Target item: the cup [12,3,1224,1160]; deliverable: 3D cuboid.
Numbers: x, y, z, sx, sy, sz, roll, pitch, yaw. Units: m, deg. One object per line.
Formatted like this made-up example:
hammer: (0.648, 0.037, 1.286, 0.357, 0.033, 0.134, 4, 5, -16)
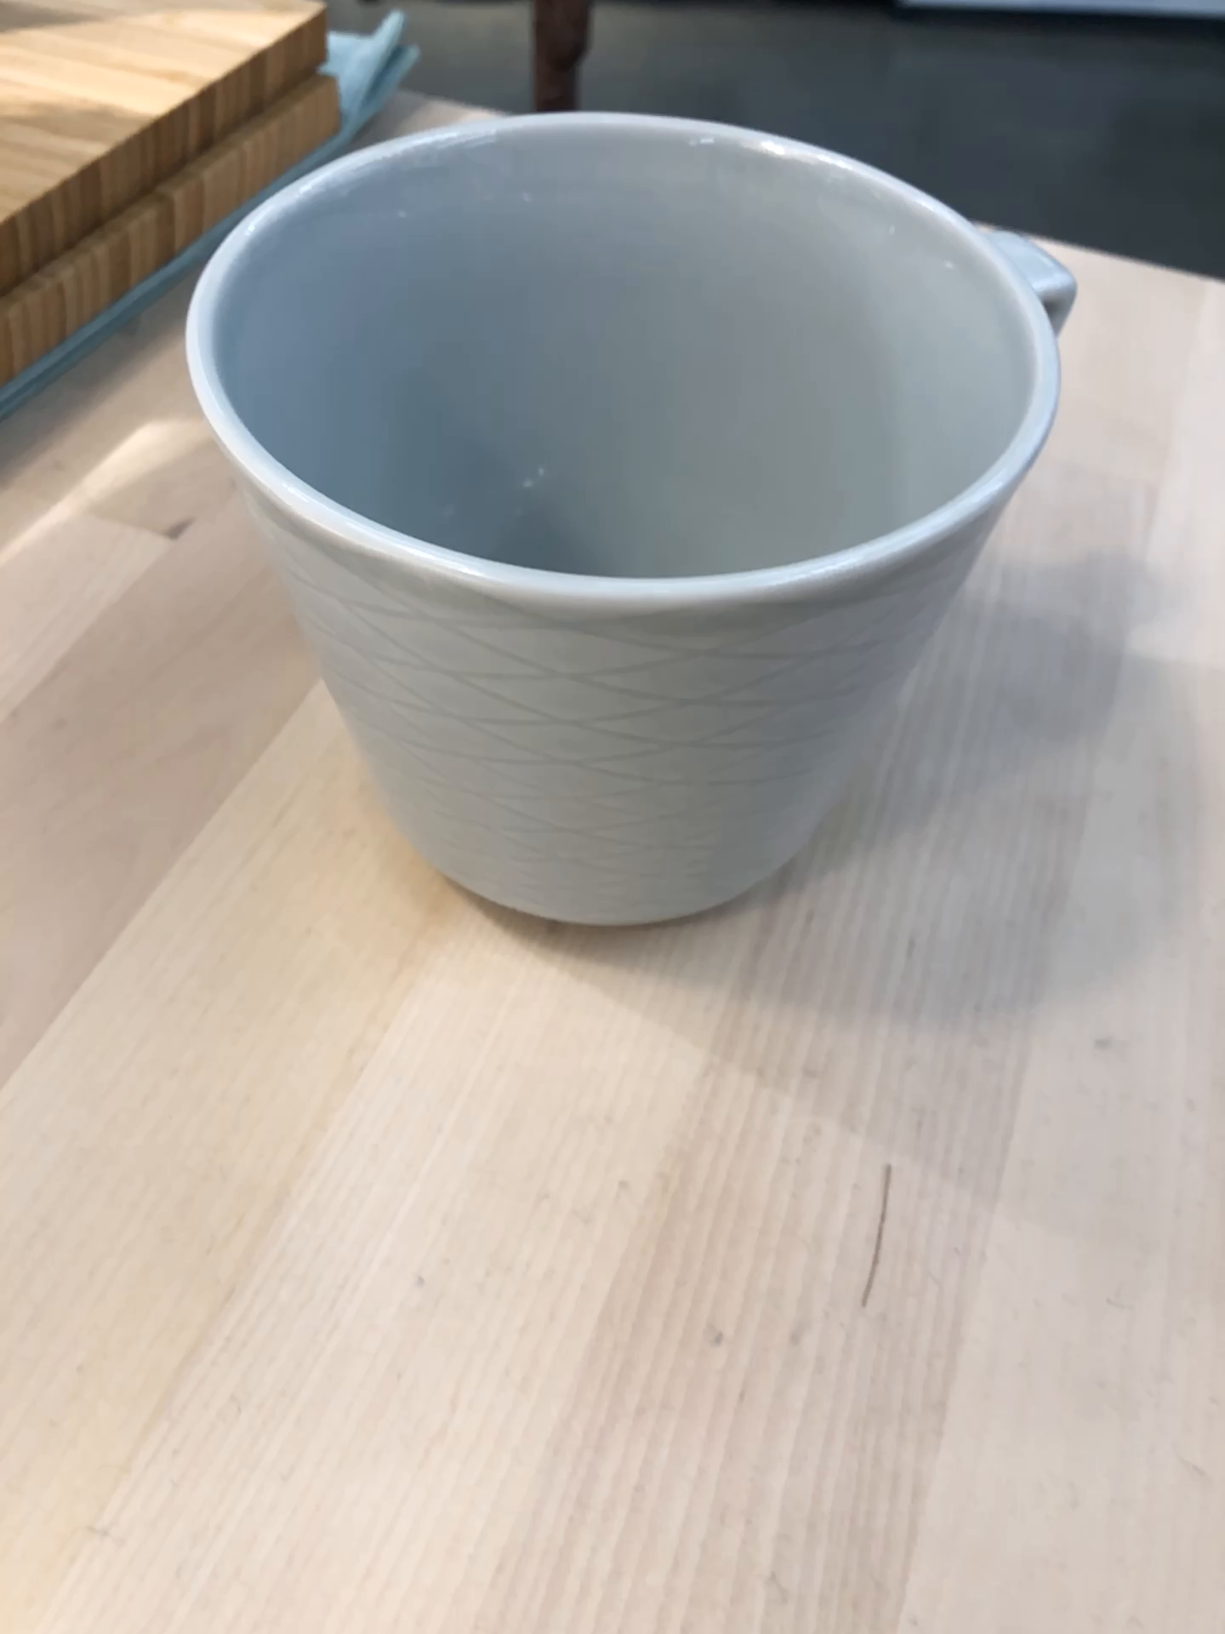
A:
cup: (0.011, -0.045, 0.204, 0.140, 0.080, 0.110, -26, 56, -23)
